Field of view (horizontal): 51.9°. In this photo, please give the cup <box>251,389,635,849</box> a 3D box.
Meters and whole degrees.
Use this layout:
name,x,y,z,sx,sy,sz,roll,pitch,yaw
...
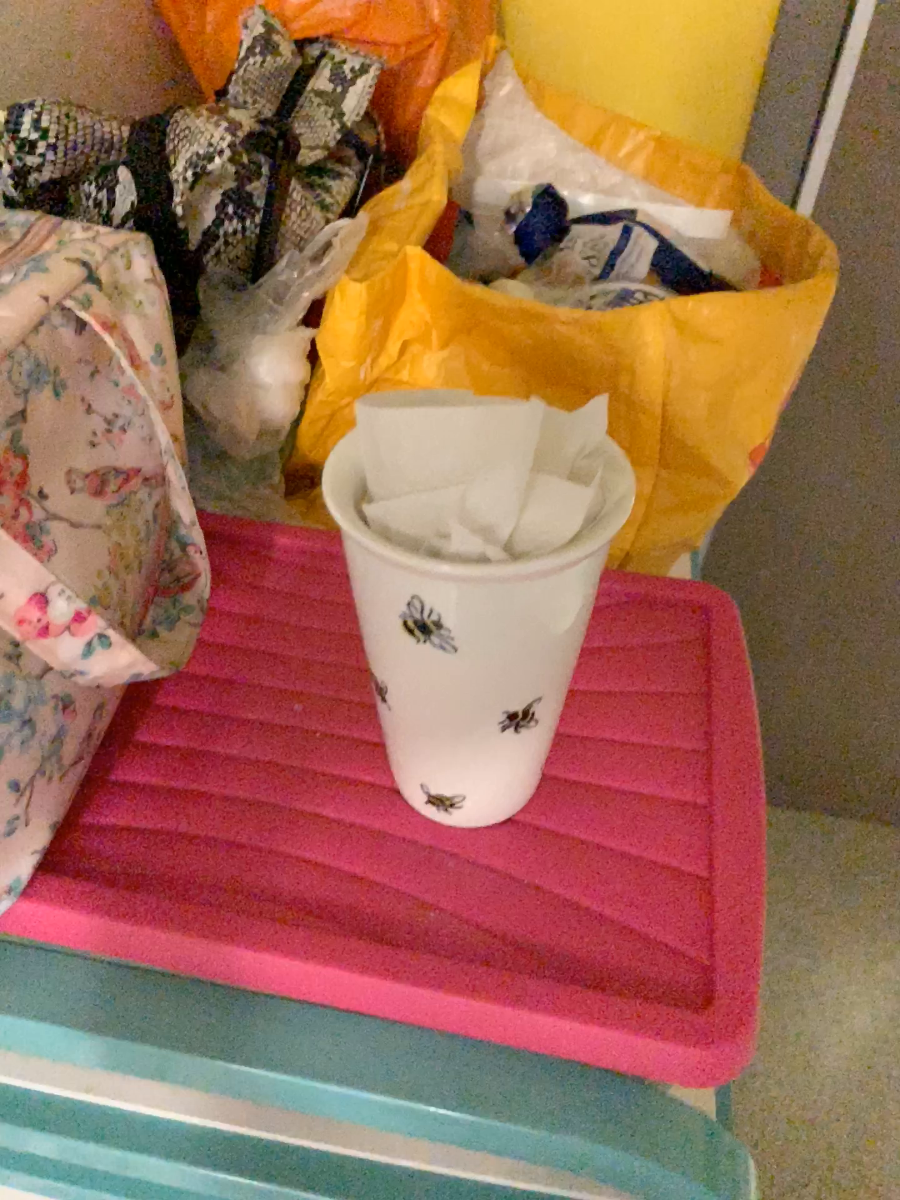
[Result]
name,x,y,z,sx,sy,sz,roll,pitch,yaw
cup,0.001,0.006,0.305,0.098,0.112,0.091,1,40,-1
